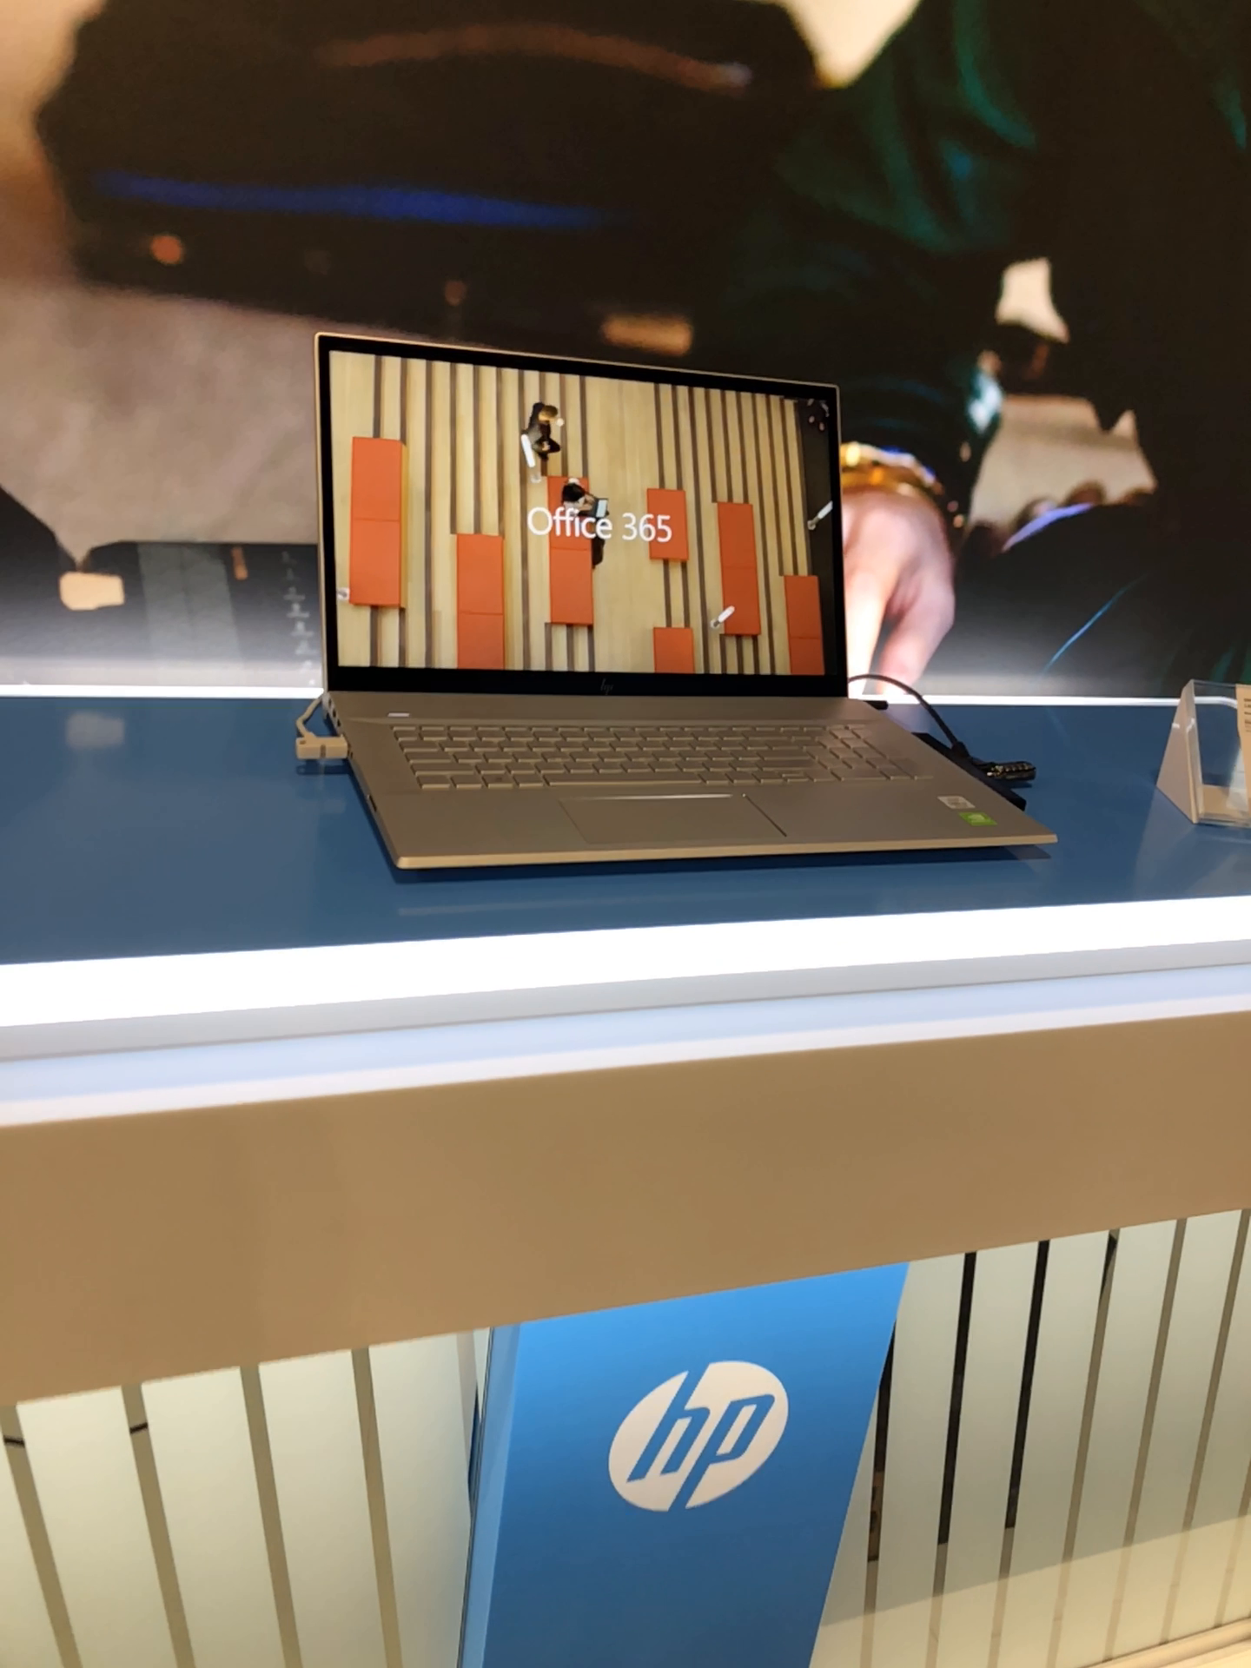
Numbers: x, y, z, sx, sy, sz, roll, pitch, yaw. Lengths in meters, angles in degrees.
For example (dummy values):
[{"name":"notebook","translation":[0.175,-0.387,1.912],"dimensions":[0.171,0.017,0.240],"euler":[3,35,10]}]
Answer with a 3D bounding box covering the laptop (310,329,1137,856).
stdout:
[{"name":"laptop","translation":[0.024,-0.176,0.898],"dimensions":[0.400,0.217,0.385],"euler":[-2,24,-20]}]
